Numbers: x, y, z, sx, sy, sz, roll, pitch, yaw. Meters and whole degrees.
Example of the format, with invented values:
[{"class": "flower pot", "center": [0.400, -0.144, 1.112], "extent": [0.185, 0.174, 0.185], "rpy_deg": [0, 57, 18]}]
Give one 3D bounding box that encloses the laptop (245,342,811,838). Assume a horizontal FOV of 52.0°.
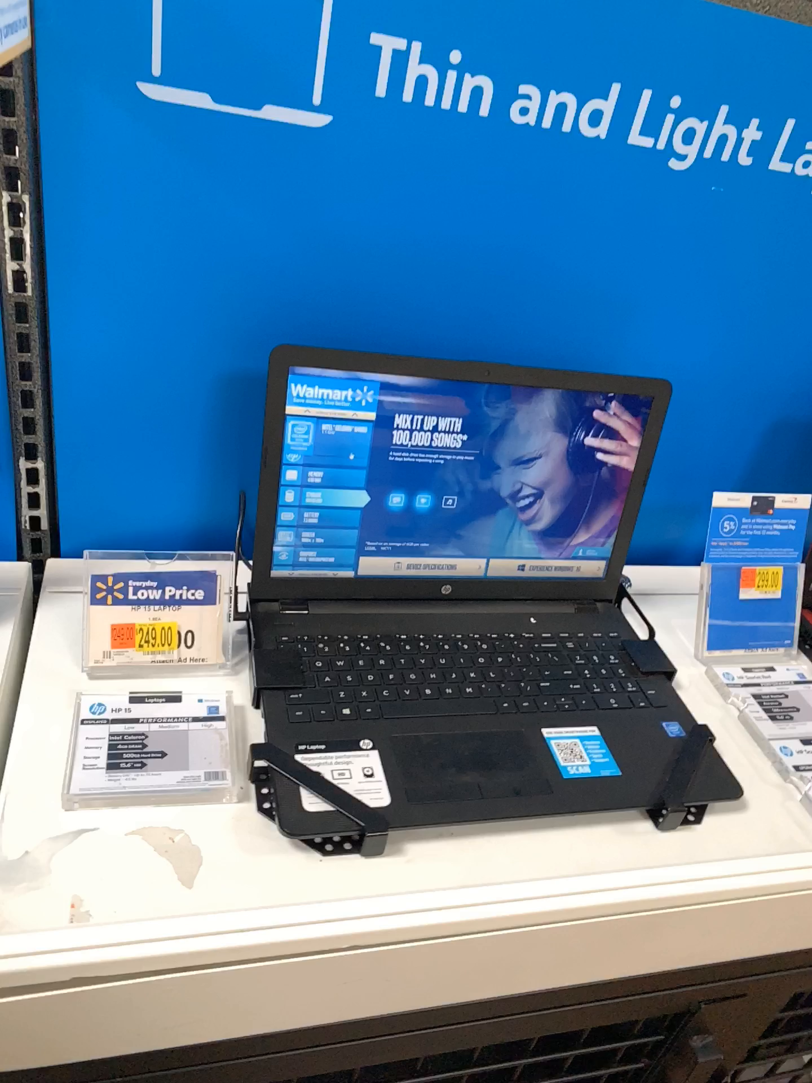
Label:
[{"class": "laptop", "center": [0.078, 0.023, 0.656], "extent": [0.363, 0.225, 0.287], "rpy_deg": [1, 35, -18]}]
